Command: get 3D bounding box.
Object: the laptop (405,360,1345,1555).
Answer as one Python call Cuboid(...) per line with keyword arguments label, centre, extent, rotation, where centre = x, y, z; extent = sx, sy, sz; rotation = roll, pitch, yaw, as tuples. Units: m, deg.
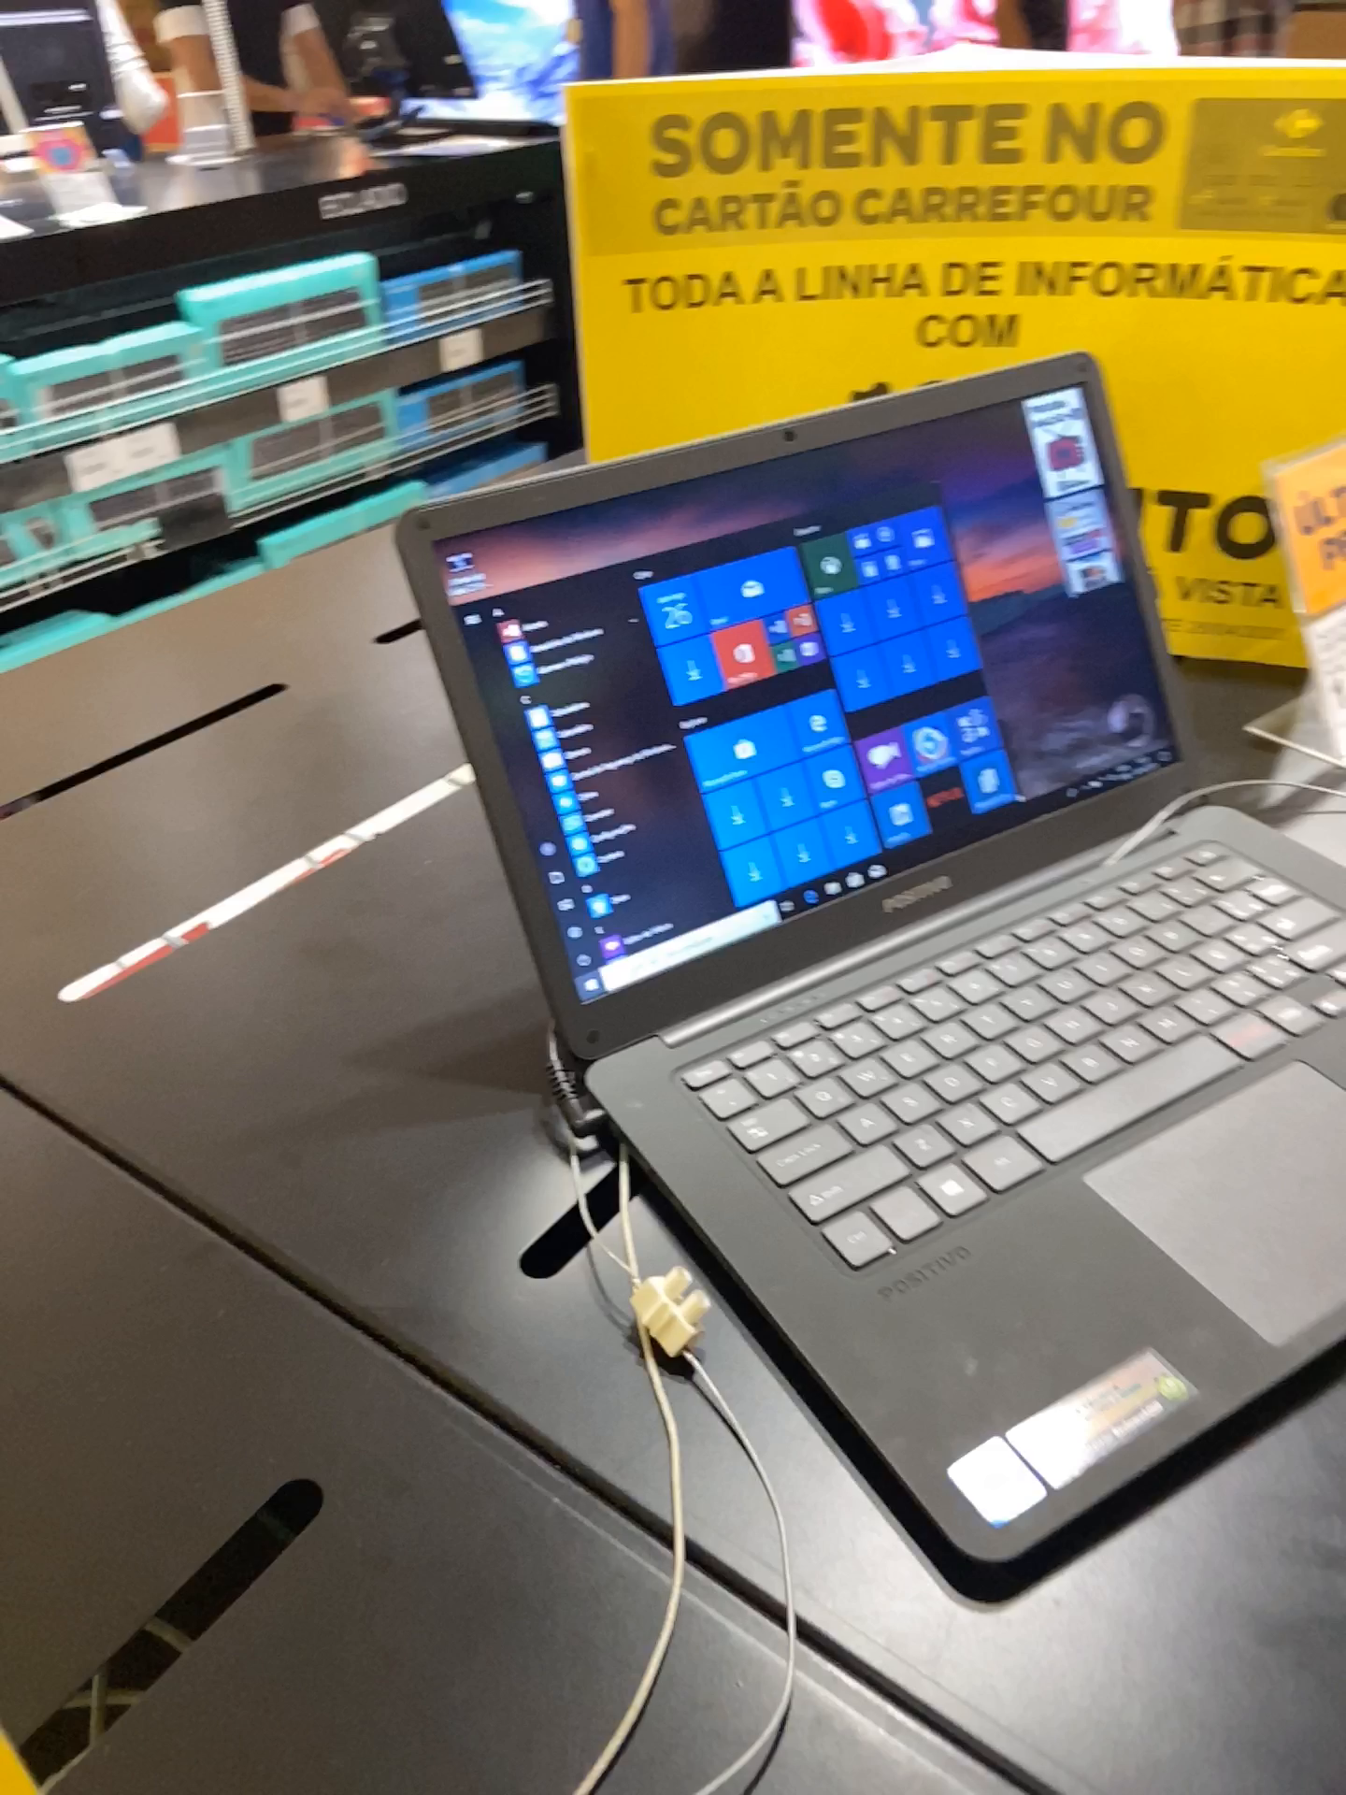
Cuboid(label="laptop", centre=(0.120, -0.034, 0.435), extent=(0.297, 0.159, 0.293), rotation=(-20, 38, -23))
